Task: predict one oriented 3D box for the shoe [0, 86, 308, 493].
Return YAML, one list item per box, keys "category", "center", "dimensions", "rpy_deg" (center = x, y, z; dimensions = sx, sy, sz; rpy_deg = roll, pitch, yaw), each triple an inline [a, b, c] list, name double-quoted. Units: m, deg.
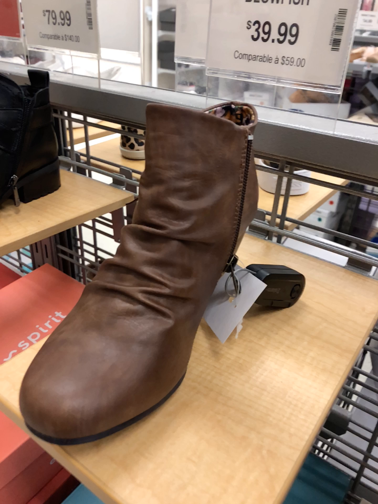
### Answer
- category: "shoe"
  center: [-0.017, -0.012, 0.262]
  dimensions: [0.090, 0.139, 0.231]
  rpy_deg: [19, 33, 25]
